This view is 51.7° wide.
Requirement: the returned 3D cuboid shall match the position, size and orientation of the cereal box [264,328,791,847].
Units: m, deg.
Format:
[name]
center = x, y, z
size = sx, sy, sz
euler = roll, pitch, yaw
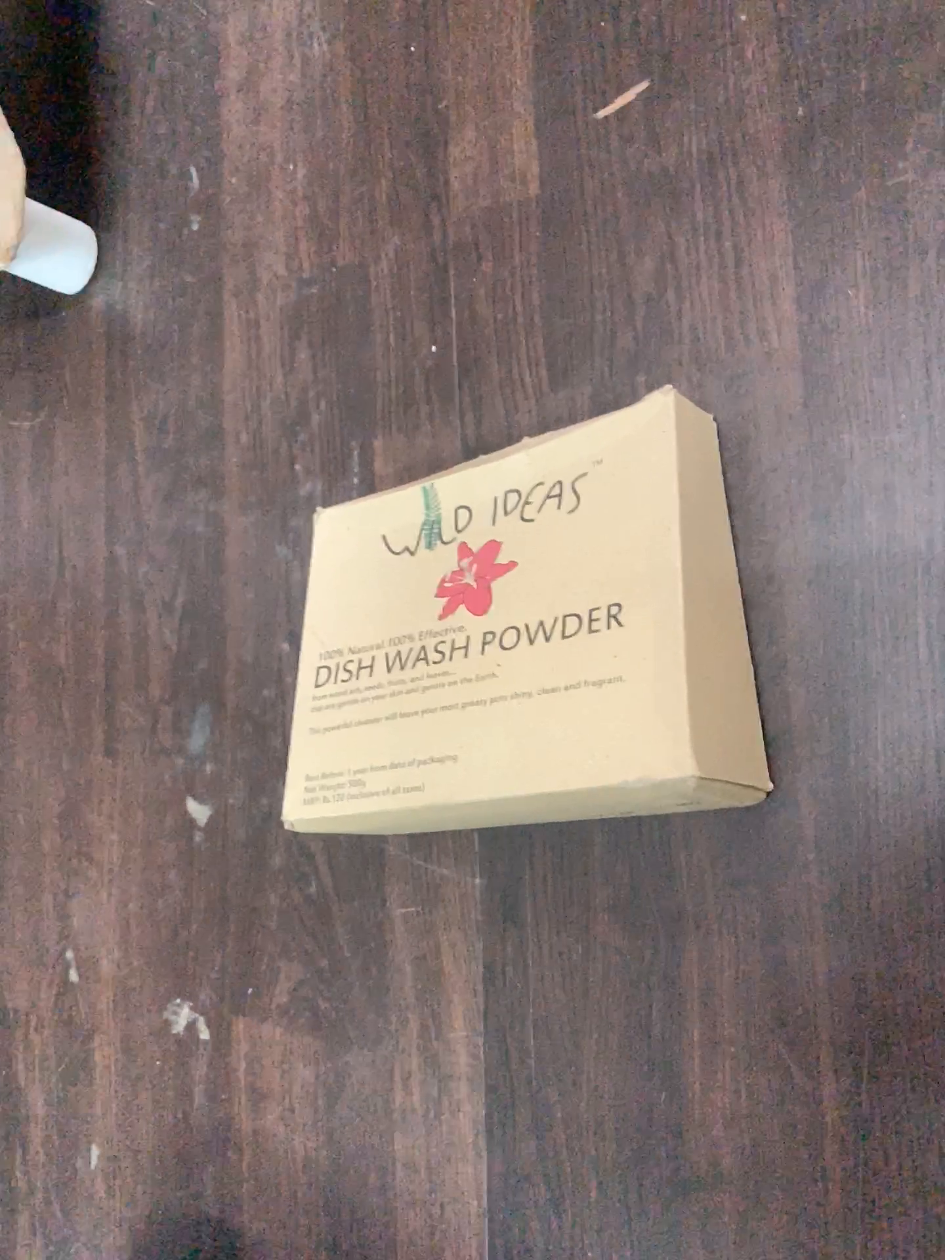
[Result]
[cereal box]
center = 0.014, -0.004, 0.367
size = 0.181, 0.060, 0.150
euler = -13, 64, 34
